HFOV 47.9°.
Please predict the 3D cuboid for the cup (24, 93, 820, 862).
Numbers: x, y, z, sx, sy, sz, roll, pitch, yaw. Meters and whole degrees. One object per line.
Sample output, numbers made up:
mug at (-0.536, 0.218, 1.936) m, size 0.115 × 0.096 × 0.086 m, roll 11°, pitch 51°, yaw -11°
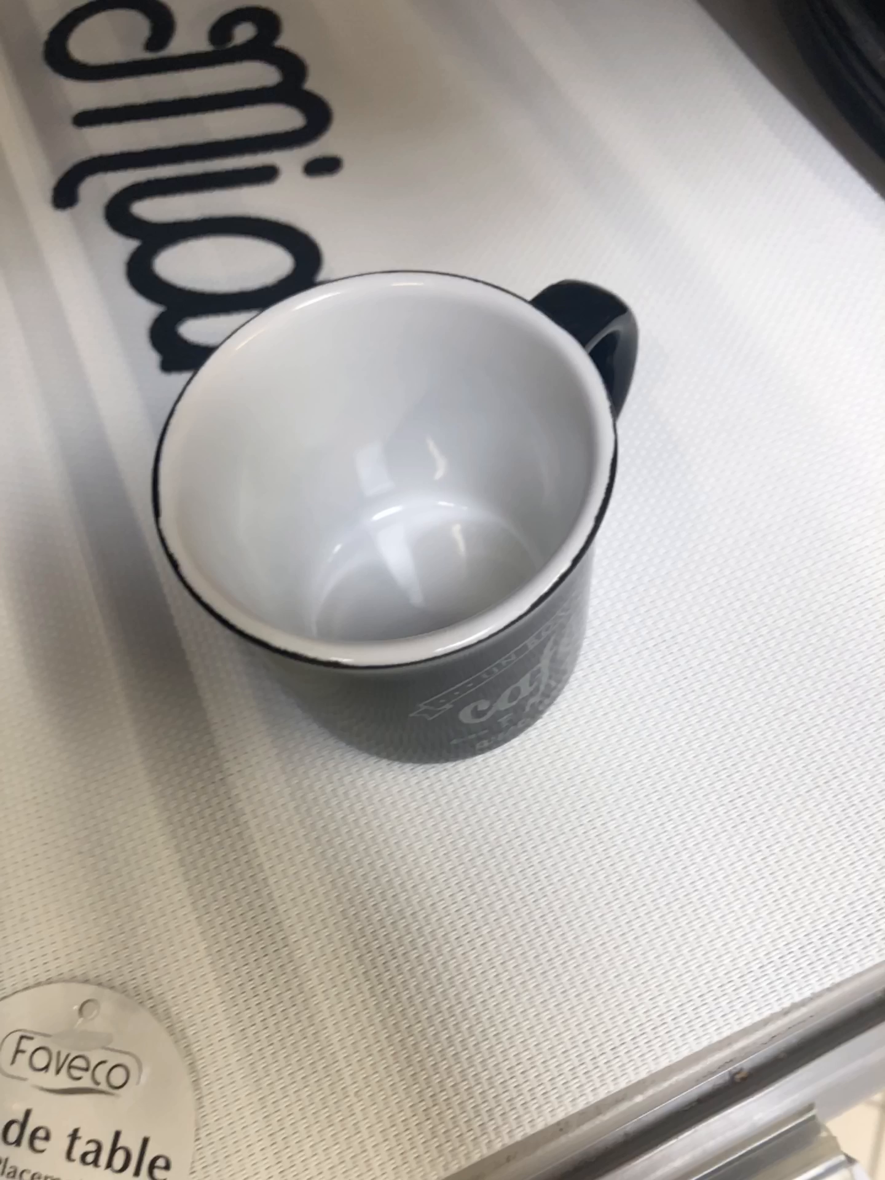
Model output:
cup at (0.000, -0.019, 0.182) m, size 0.074 × 0.064 × 0.101 m, roll 40°, pitch 74°, yaw 21°
